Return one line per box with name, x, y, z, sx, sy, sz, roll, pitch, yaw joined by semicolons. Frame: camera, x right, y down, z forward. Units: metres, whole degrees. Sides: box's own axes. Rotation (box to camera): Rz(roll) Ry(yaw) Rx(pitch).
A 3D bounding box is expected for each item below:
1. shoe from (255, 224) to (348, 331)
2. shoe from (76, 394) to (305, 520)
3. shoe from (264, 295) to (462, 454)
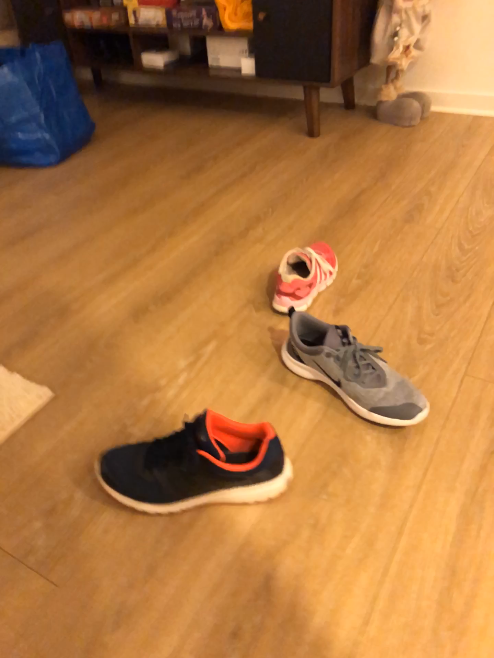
shoe;0.134;-0.128;1.263;0.120;0.099;0.281;13;41;21
shoe;-0.079;0.195;0.841;0.320;0.099;0.131;-5;38;0
shoe;0.193;0.066;0.974;0.130;0.099;0.321;-33;46;-32
